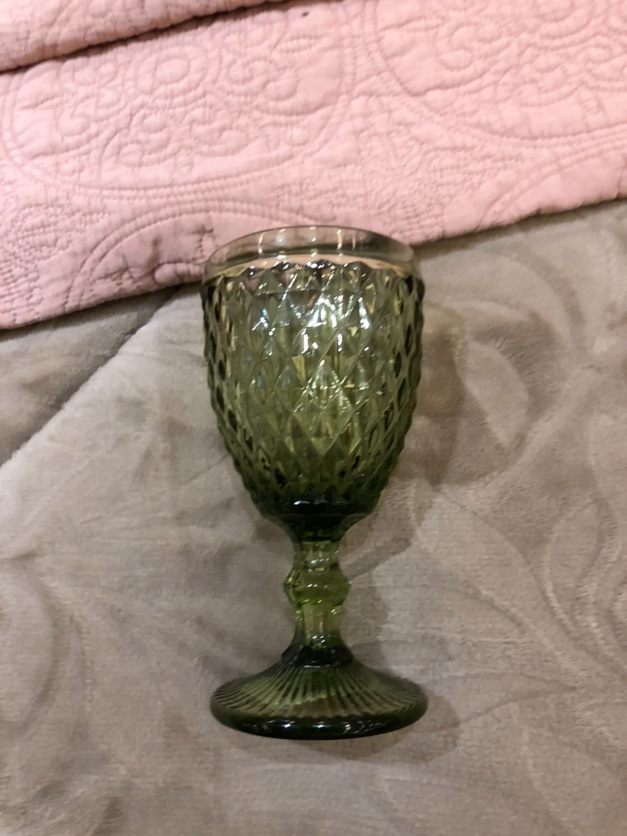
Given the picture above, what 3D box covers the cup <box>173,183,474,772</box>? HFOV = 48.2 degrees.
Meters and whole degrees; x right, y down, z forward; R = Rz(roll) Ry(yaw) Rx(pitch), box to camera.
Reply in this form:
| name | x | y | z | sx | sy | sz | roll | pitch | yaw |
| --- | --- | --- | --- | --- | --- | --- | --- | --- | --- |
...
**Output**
| name | x | y | z | sx | sy | sz | roll | pitch | yaw |
| --- | --- | --- | --- | --- | --- | --- | --- | --- | --- |
| cup | 0.006 | 0.020 | 0.269 | 0.090 | 0.080 | 0.190 | -2 | 76 | 7 |
